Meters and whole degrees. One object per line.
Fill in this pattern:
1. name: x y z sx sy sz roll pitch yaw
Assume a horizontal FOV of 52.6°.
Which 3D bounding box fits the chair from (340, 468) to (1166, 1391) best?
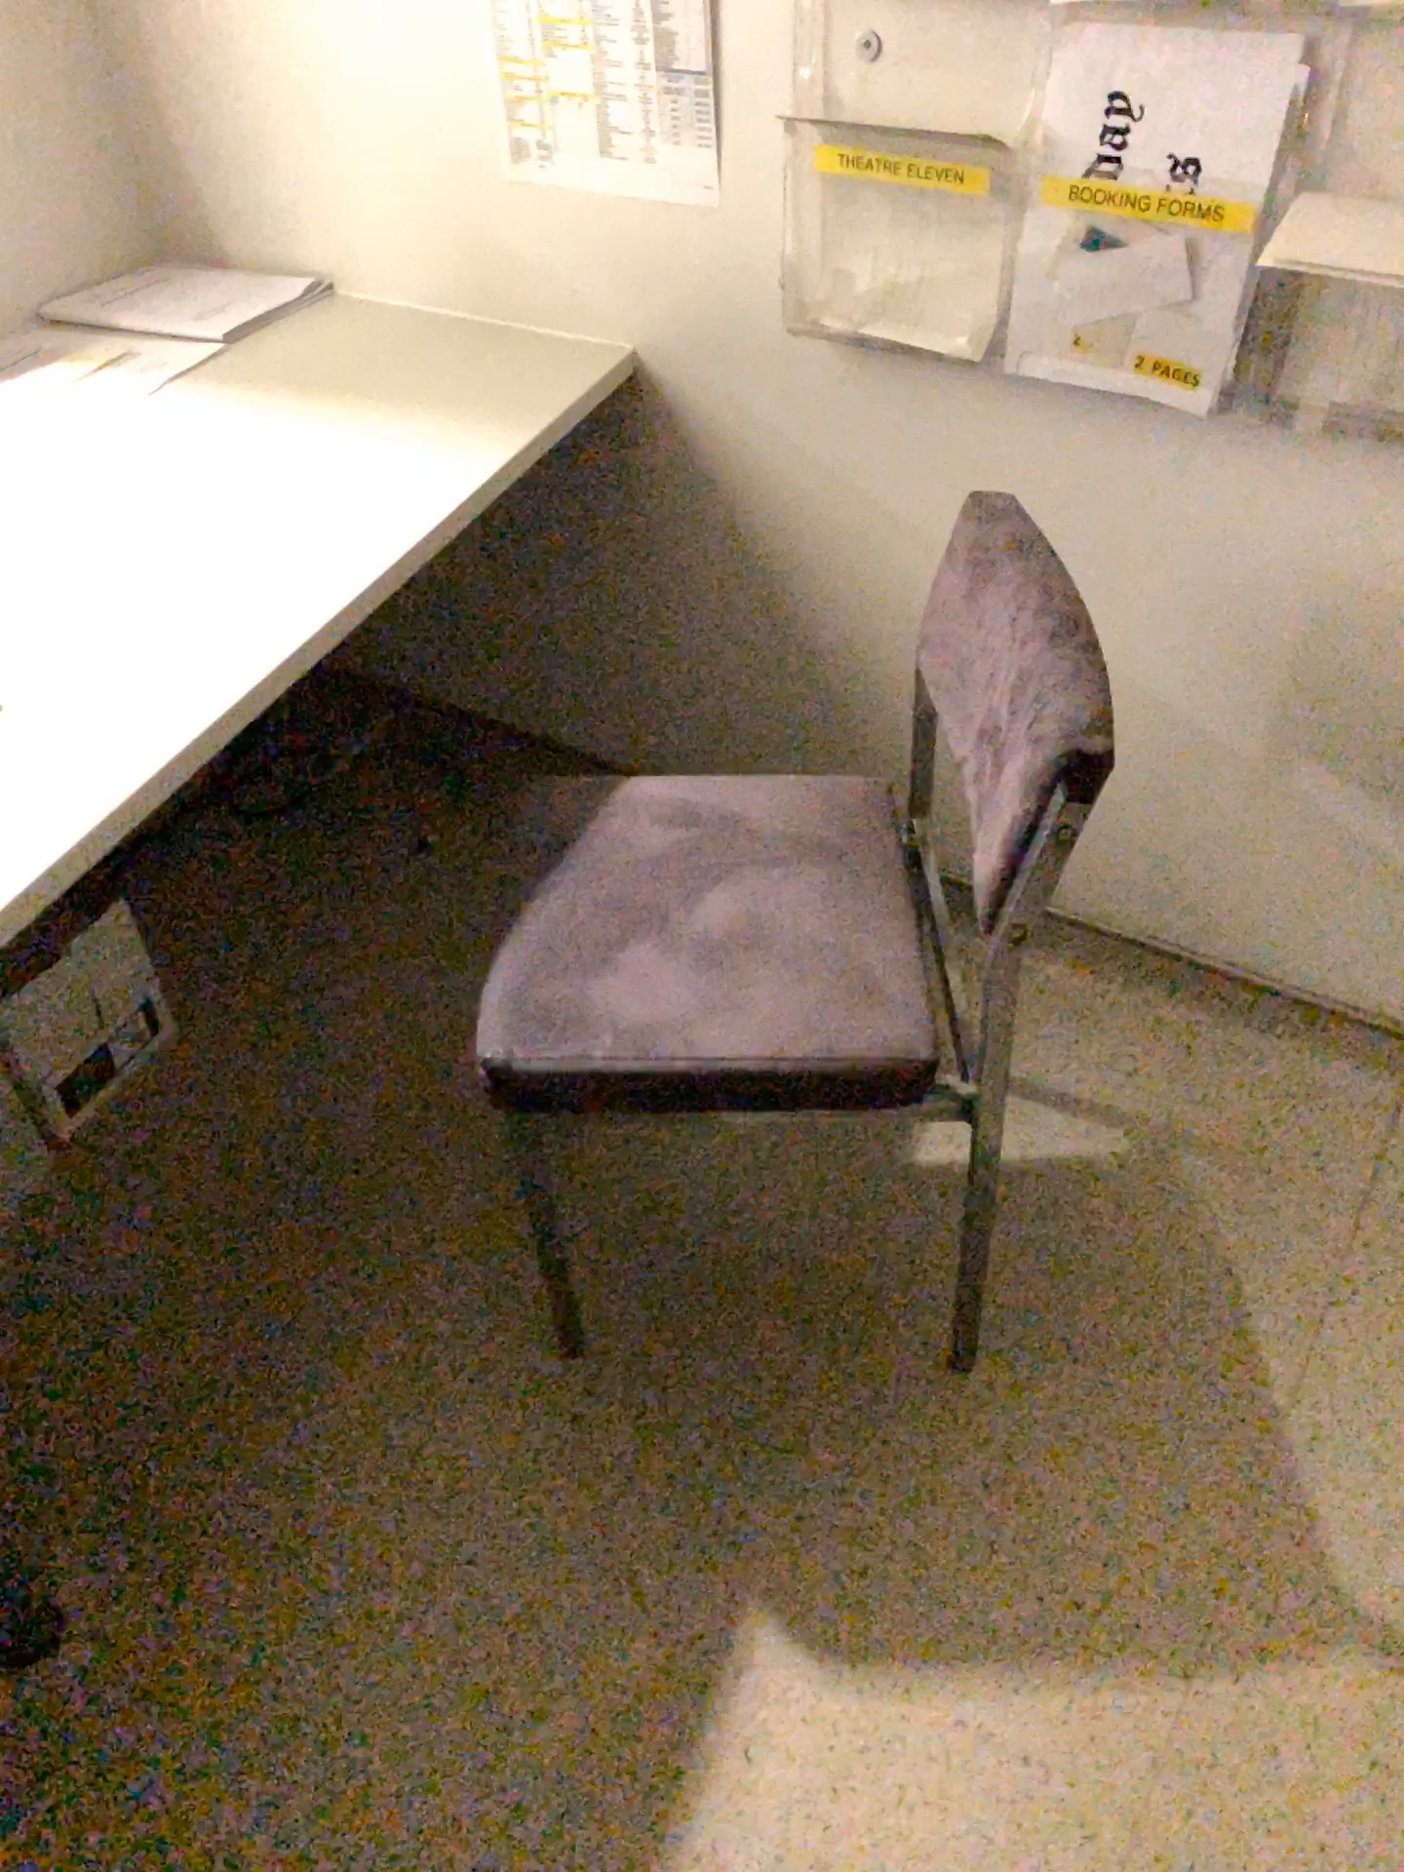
1. chair: 0.053 -0.004 1.378 0.550 0.663 0.576 -2 40 3
